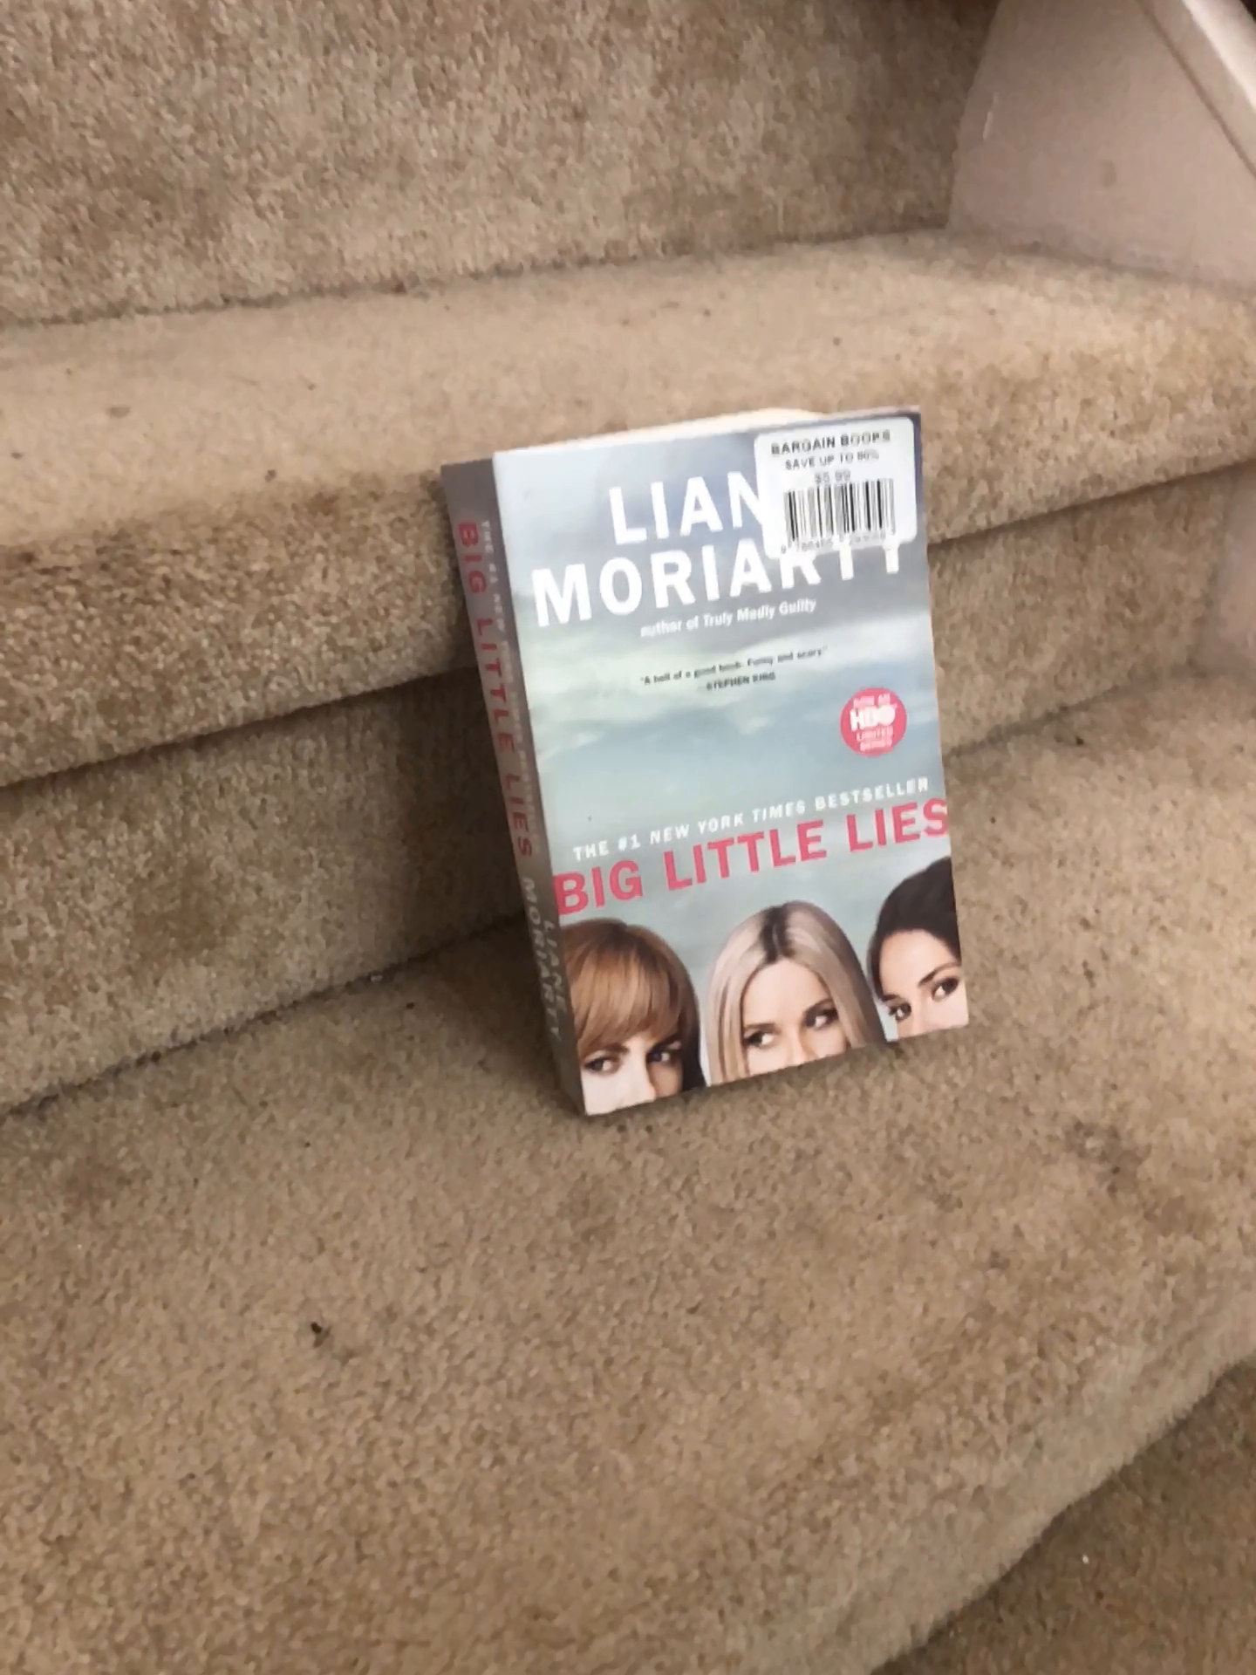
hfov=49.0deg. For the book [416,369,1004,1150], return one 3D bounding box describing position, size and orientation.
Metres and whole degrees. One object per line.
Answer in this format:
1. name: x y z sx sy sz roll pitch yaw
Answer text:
1. book: 0.033 -0.030 0.436 0.160 0.209 0.050 -12 14 -22
